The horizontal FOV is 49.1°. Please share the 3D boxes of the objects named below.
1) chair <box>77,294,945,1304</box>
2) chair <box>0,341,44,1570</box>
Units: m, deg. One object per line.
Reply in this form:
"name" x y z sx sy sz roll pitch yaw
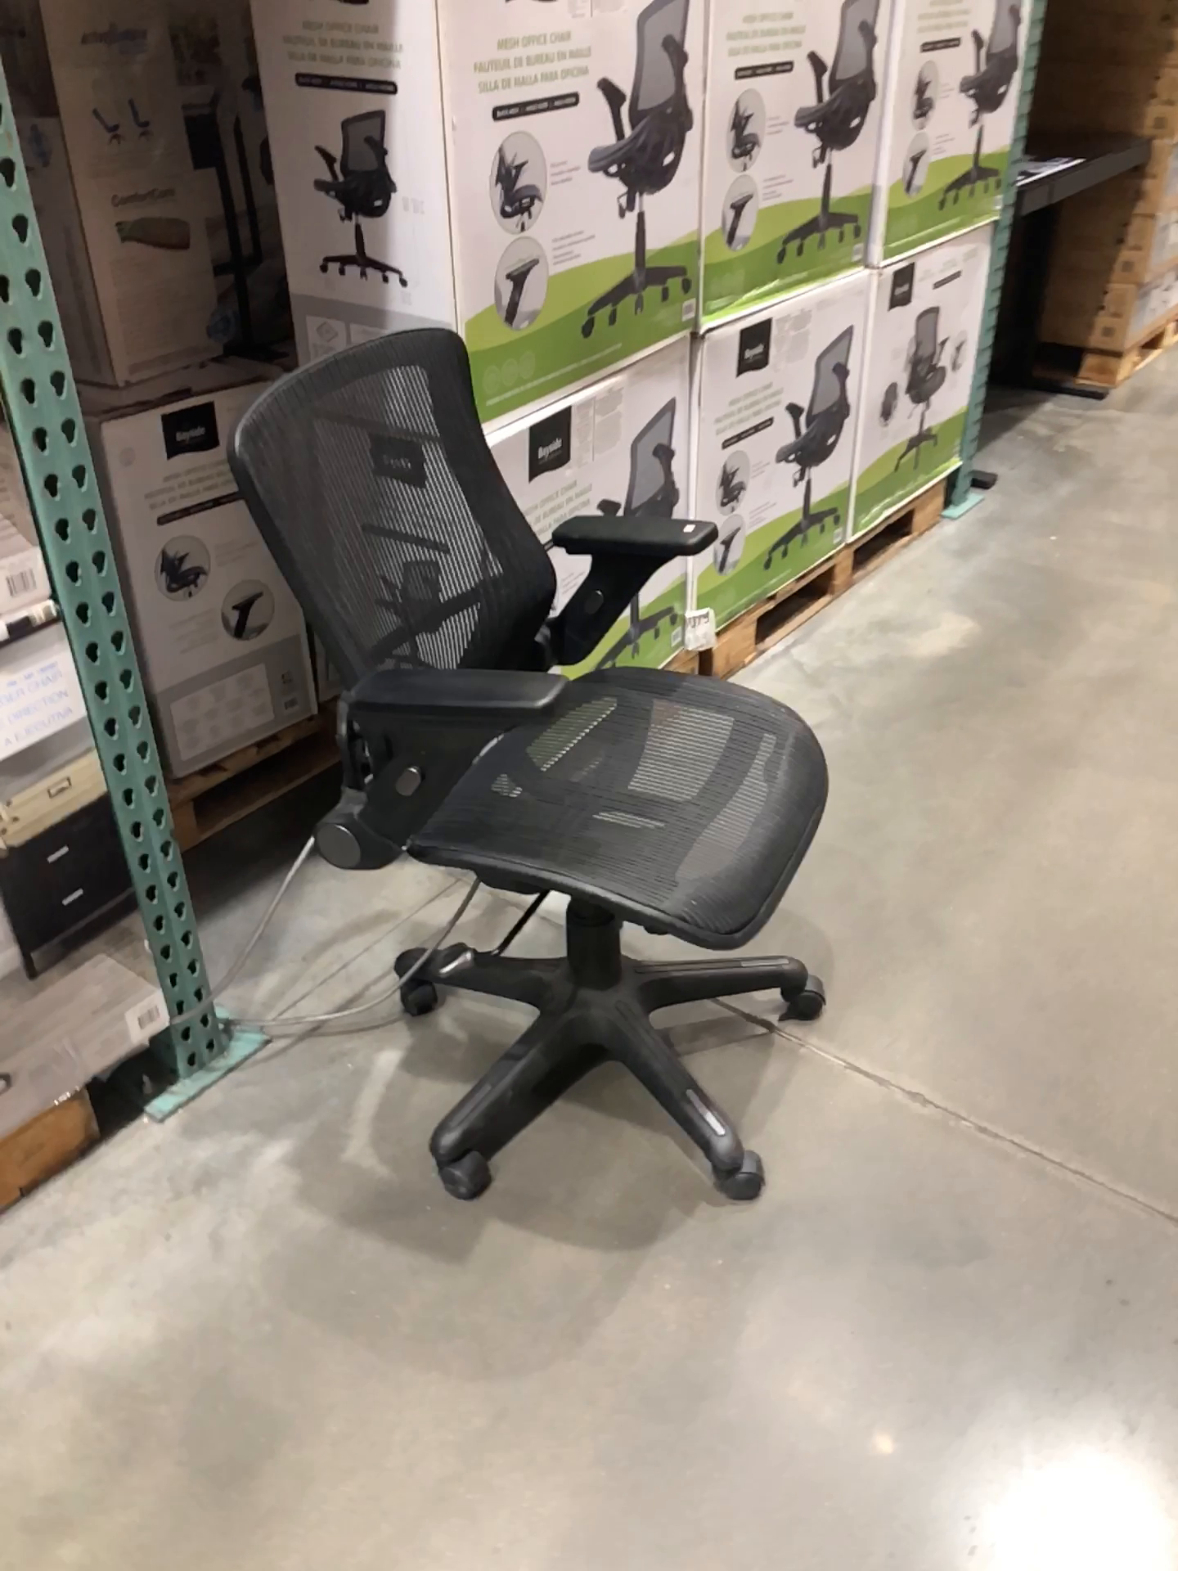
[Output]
"chair" -0.039 -0.030 1.615 0.699 0.936 0.637 14 35 21
"chair" -0.981 0.567 0.489 0.799 1.145 0.908 15 36 22
